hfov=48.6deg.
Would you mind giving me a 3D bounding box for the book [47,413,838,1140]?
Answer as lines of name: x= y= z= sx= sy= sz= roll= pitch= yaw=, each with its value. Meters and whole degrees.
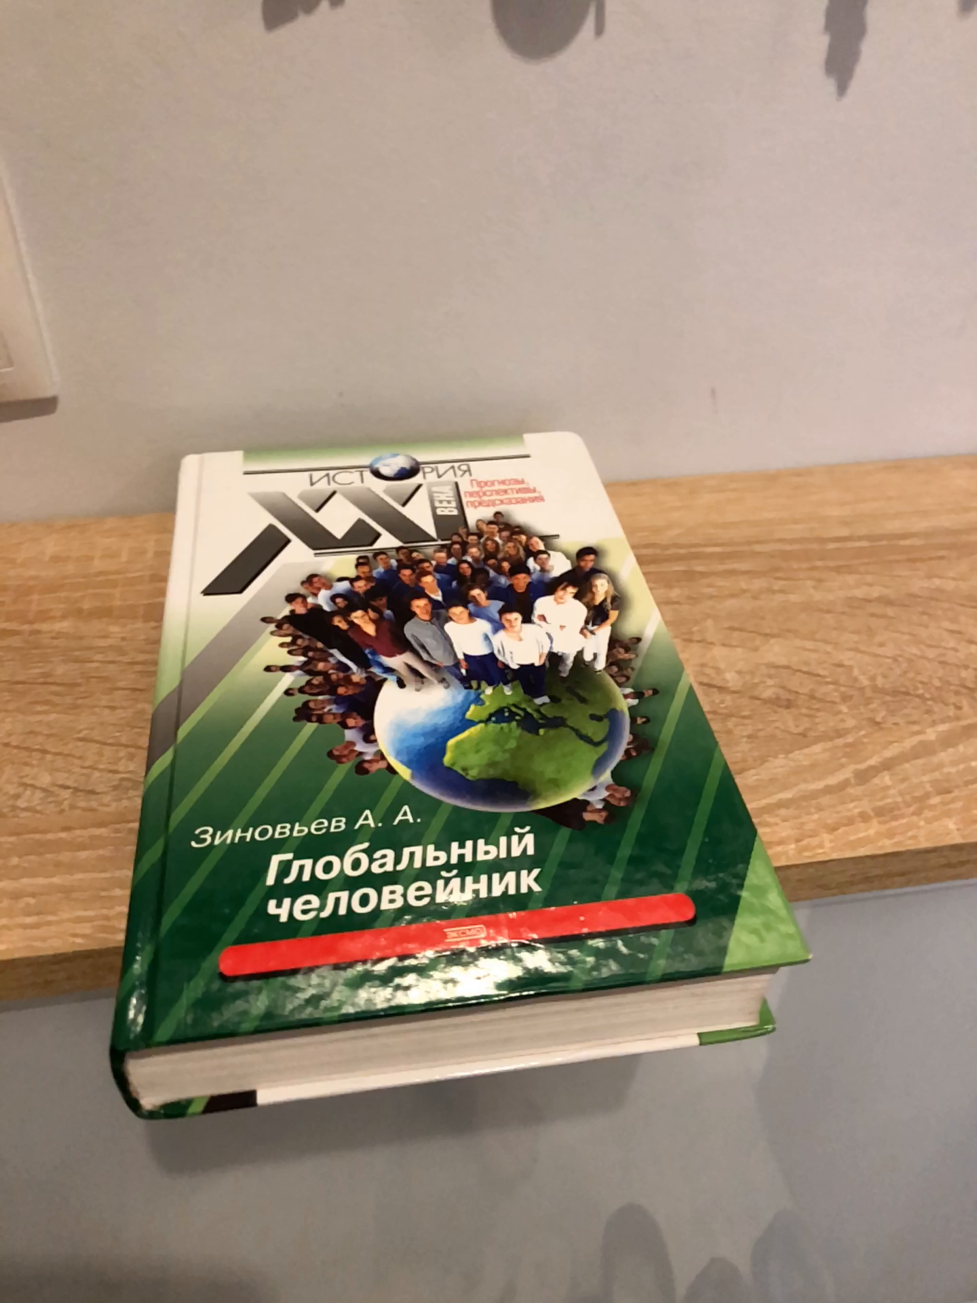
book: x=-0.022 y=0.003 z=0.280 sx=0.140 sy=0.020 sz=0.222 roll=-5 pitch=40 yaw=-8
